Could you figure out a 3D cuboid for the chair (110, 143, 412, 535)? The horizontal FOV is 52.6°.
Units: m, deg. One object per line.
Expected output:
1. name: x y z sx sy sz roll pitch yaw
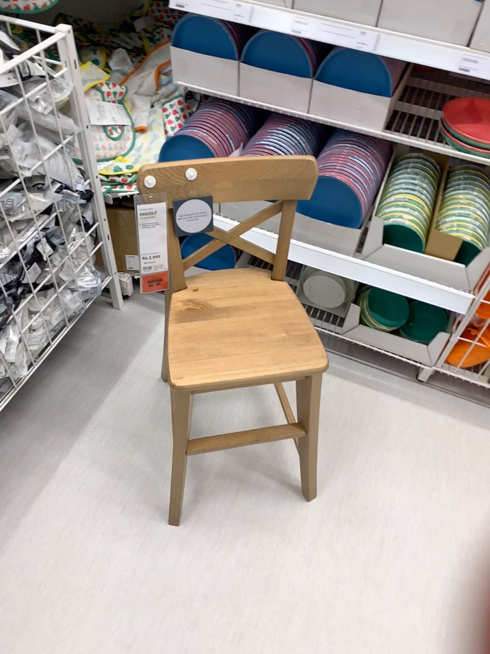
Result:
1. chair: -0.028 0.059 1.067 0.380 0.688 0.461 -9 51 -12
